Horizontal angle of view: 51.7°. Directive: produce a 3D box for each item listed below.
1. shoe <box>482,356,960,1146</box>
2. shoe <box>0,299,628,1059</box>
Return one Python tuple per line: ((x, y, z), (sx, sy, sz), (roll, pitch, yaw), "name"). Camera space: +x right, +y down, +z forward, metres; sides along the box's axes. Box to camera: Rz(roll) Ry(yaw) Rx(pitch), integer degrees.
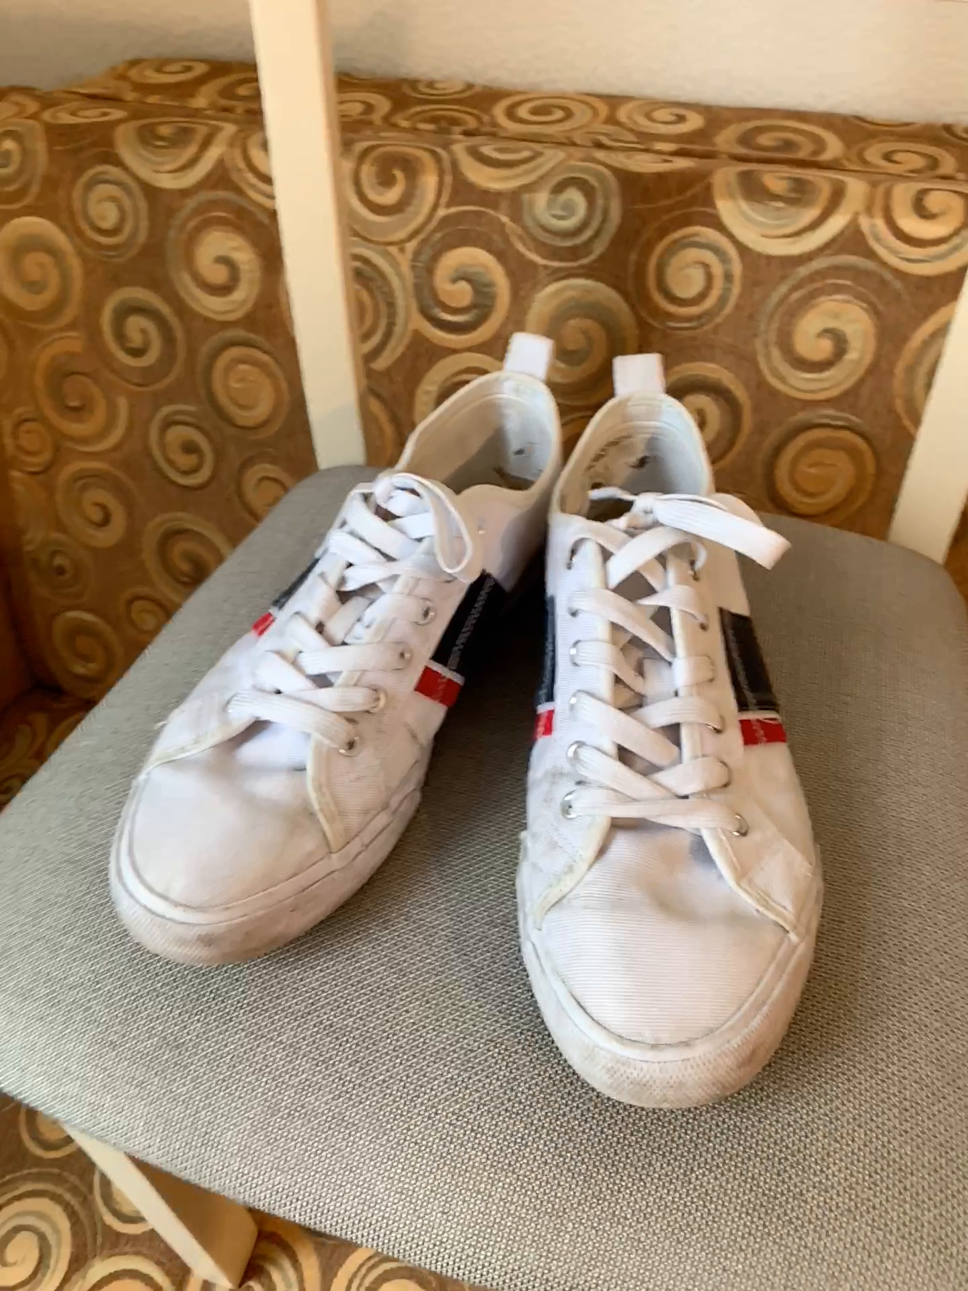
((0.061, 0.017, 0.353), (0.110, 0.090, 0.271), (0, 50, 3), "shoe")
((-0.057, -0.011, 0.390), (0.120, 0.090, 0.281), (21, 55, 19), "shoe")
